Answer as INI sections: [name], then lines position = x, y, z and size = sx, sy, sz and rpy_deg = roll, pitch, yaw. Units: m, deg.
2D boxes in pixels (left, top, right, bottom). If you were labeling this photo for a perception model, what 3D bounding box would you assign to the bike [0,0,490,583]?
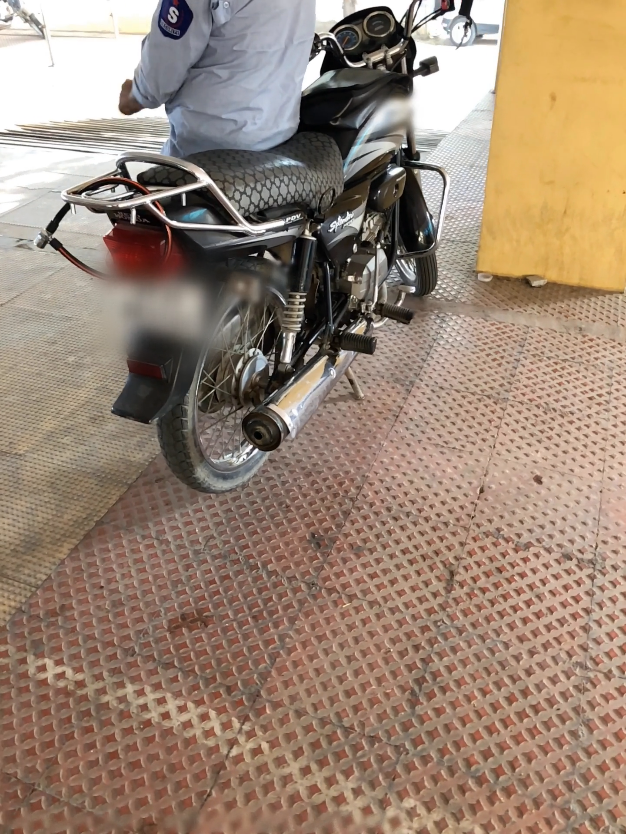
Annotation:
[bike]
position = -0.032, -0.633, 1.950
size = 0.677, 1.036, 1.687
rpy_deg = 12, 40, 18
